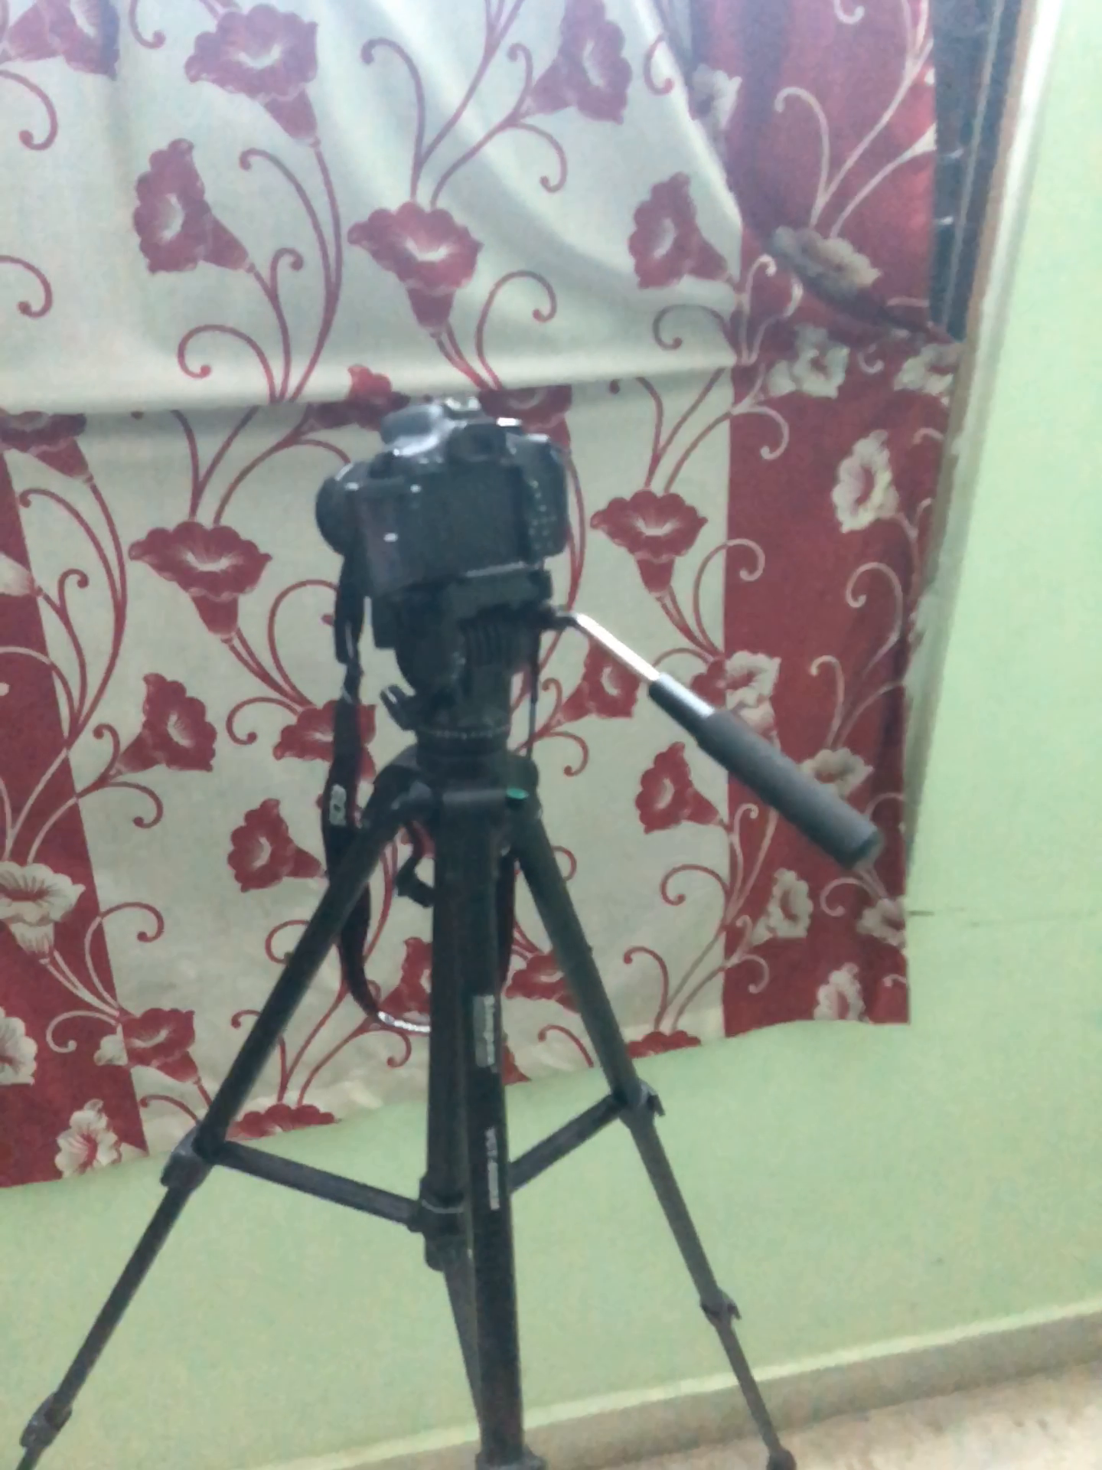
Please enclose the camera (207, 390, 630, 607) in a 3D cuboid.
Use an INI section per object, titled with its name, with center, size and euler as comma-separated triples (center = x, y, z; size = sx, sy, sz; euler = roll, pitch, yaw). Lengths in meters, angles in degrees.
[camera]
center = -0.077, -0.149, 0.714
size = 0.201, 0.087, 0.140
euler = -16, 28, -39
